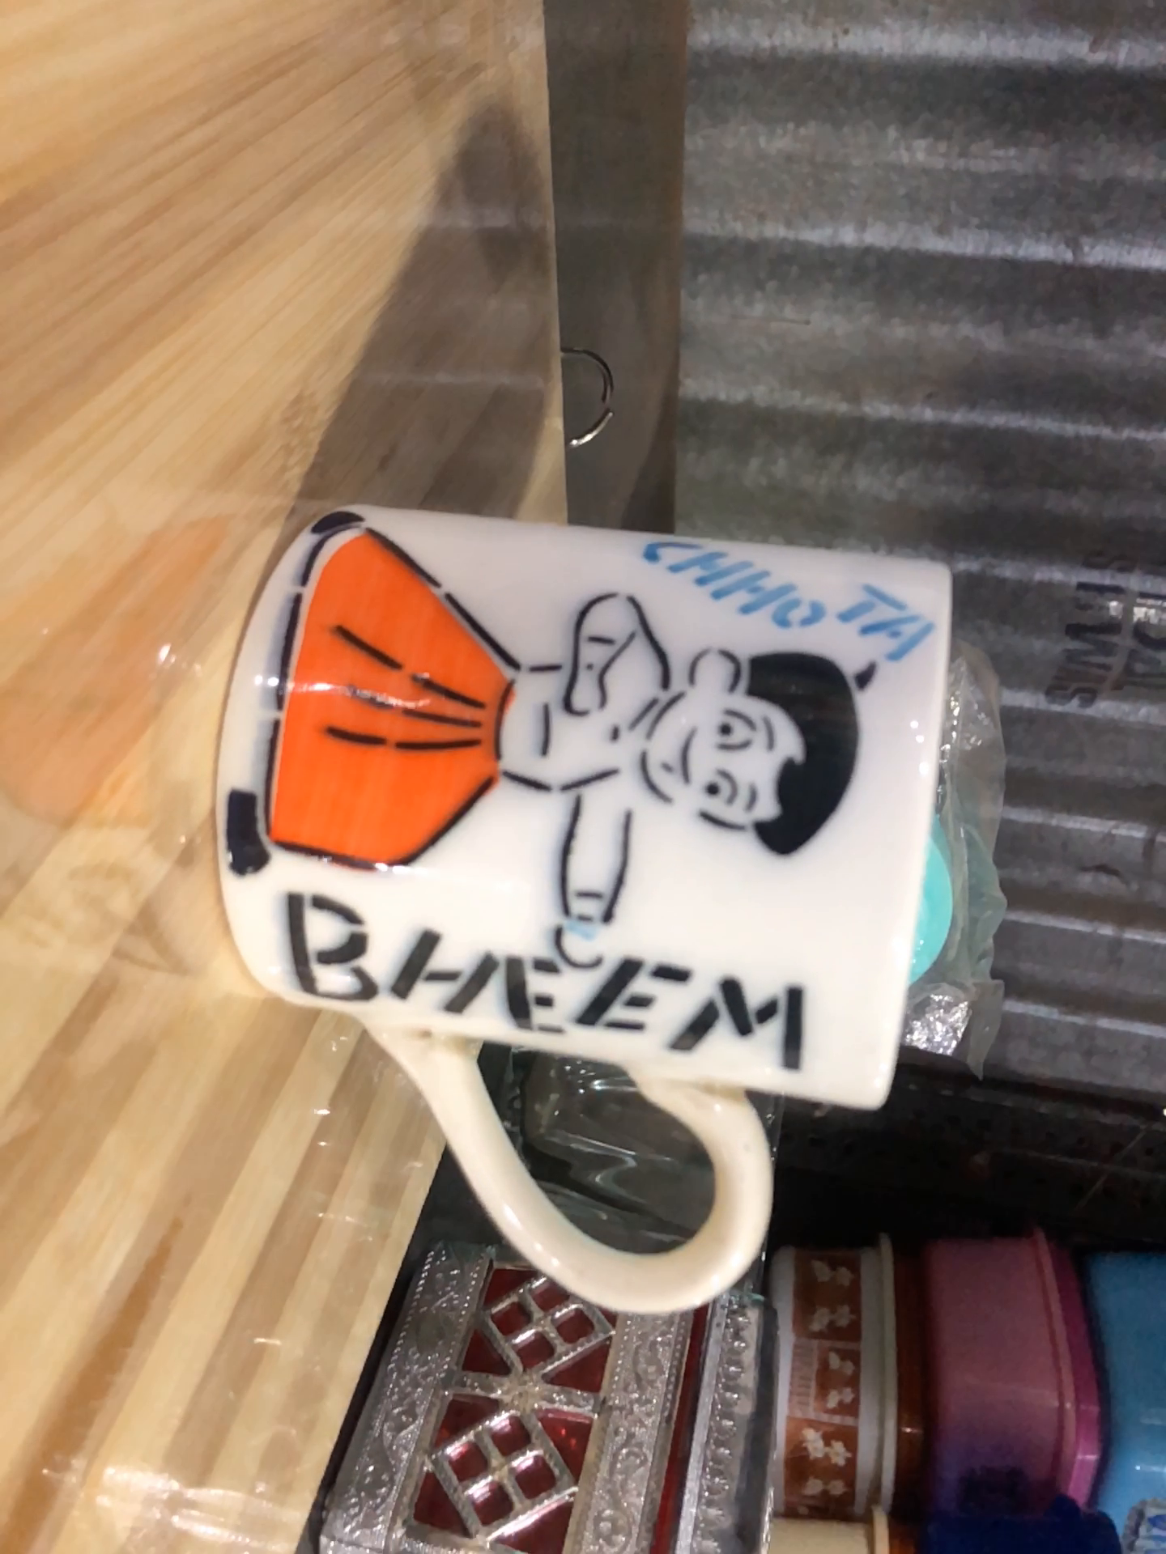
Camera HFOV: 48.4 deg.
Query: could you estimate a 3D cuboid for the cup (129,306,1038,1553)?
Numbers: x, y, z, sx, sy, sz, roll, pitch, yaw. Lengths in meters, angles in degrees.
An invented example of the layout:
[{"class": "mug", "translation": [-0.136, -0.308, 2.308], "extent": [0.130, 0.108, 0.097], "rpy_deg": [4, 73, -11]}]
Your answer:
[{"class": "cup", "translation": [0.006, 0.014, 0.180], "extent": [0.100, 0.080, 0.120], "rpy_deg": [-16, 113, -79]}]
